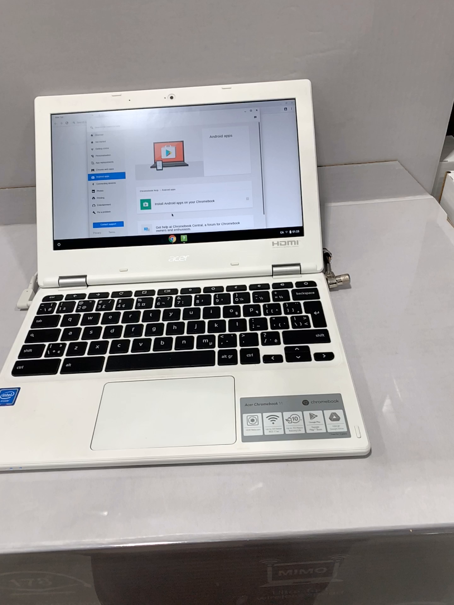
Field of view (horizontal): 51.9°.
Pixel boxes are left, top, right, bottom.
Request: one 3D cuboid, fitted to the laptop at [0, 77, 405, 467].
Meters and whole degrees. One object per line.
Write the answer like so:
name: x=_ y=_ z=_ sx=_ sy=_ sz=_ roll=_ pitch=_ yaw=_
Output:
laptop: x=-0.051 y=-0.055 z=0.397 sx=0.282 sy=0.132 sz=0.330 roll=-3 pitch=44 yaw=2
